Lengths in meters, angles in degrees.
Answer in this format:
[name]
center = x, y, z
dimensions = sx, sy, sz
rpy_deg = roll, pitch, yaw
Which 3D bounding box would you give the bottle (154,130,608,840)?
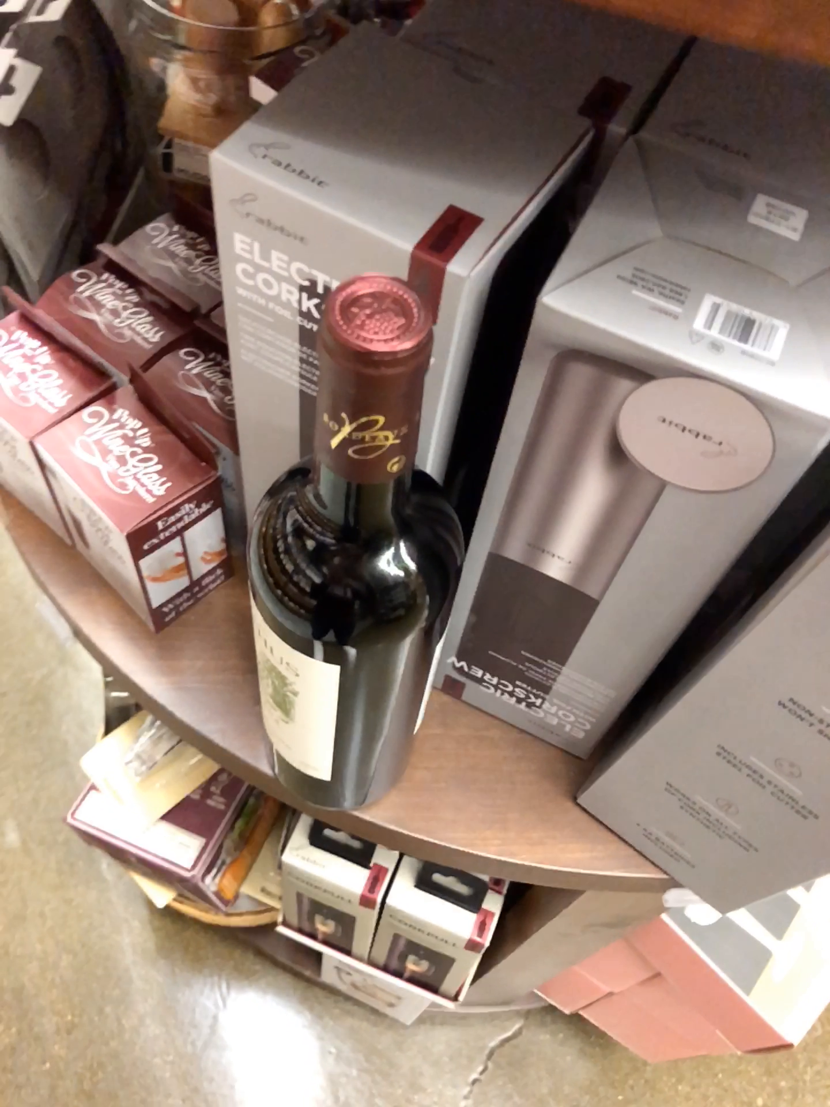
[bottle]
center = -0.021, 0.013, 0.336
dimensions = 0.080, 0.300, 0.080
rpy_deg = 2, 58, -4
